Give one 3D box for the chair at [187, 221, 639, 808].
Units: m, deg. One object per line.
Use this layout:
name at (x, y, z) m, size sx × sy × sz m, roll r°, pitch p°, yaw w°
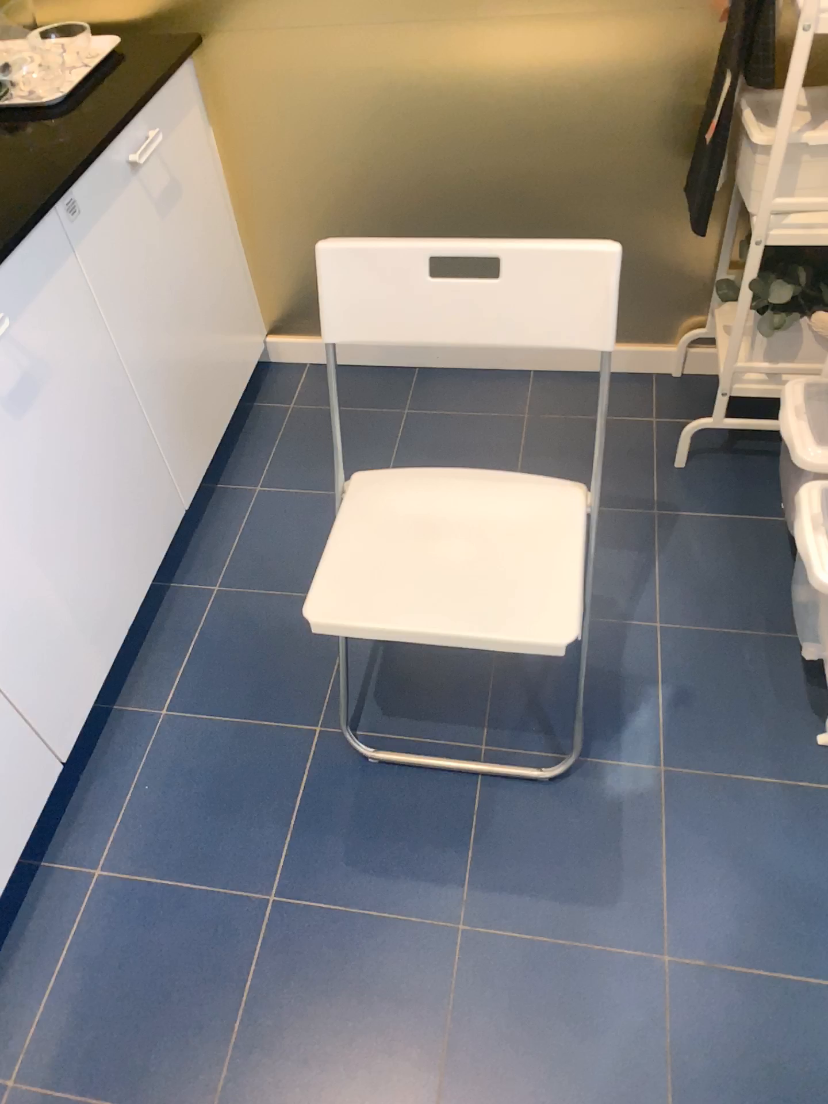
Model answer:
chair at (0.058, -0.019, 1.216) m, size 0.440 × 0.747 × 0.421 m, roll 4°, pitch 49°, yaw 11°
